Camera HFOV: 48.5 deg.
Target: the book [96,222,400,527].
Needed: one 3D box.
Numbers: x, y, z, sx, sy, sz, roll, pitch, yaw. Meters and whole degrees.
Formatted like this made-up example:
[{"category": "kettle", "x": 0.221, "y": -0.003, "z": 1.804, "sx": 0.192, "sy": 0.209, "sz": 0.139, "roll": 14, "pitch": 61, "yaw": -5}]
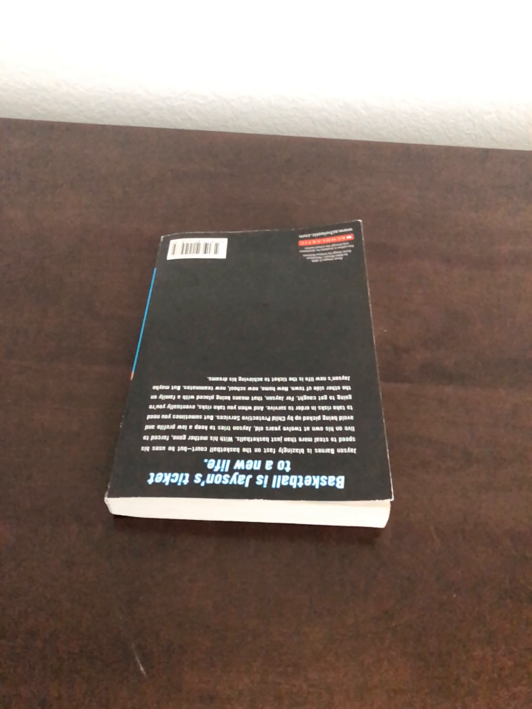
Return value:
[{"category": "book", "x": -0.005, "y": -0.001, "z": 0.349, "sx": 0.140, "sy": 0.036, "sz": 0.199, "roll": 0, "pitch": 50, "yaw": 3}]
